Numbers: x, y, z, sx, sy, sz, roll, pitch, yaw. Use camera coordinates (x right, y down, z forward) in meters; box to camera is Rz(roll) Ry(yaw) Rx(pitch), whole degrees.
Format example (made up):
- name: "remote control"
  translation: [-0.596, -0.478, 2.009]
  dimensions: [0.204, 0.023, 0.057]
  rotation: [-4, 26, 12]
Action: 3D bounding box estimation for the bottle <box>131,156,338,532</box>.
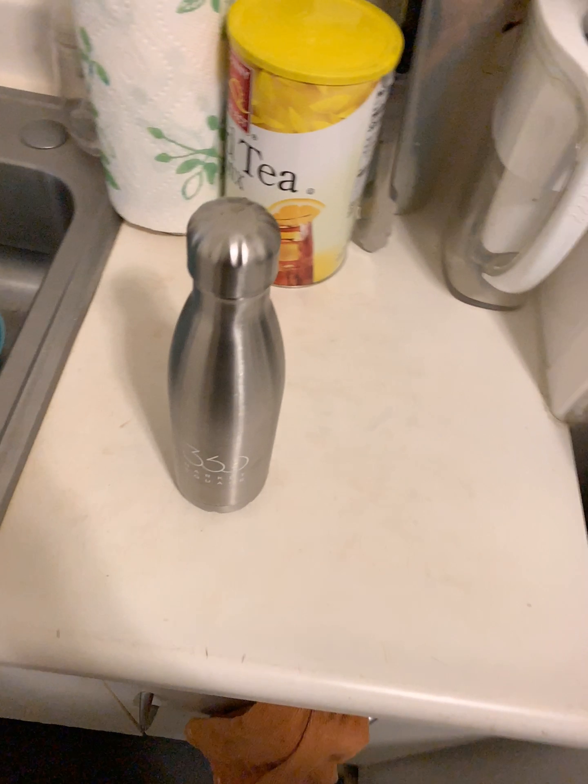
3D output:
- name: "bottle"
  translation: [-0.039, -0.003, 0.360]
  dimensions: [0.070, 0.249, 0.070]
  rotation: [4, 56, -6]
